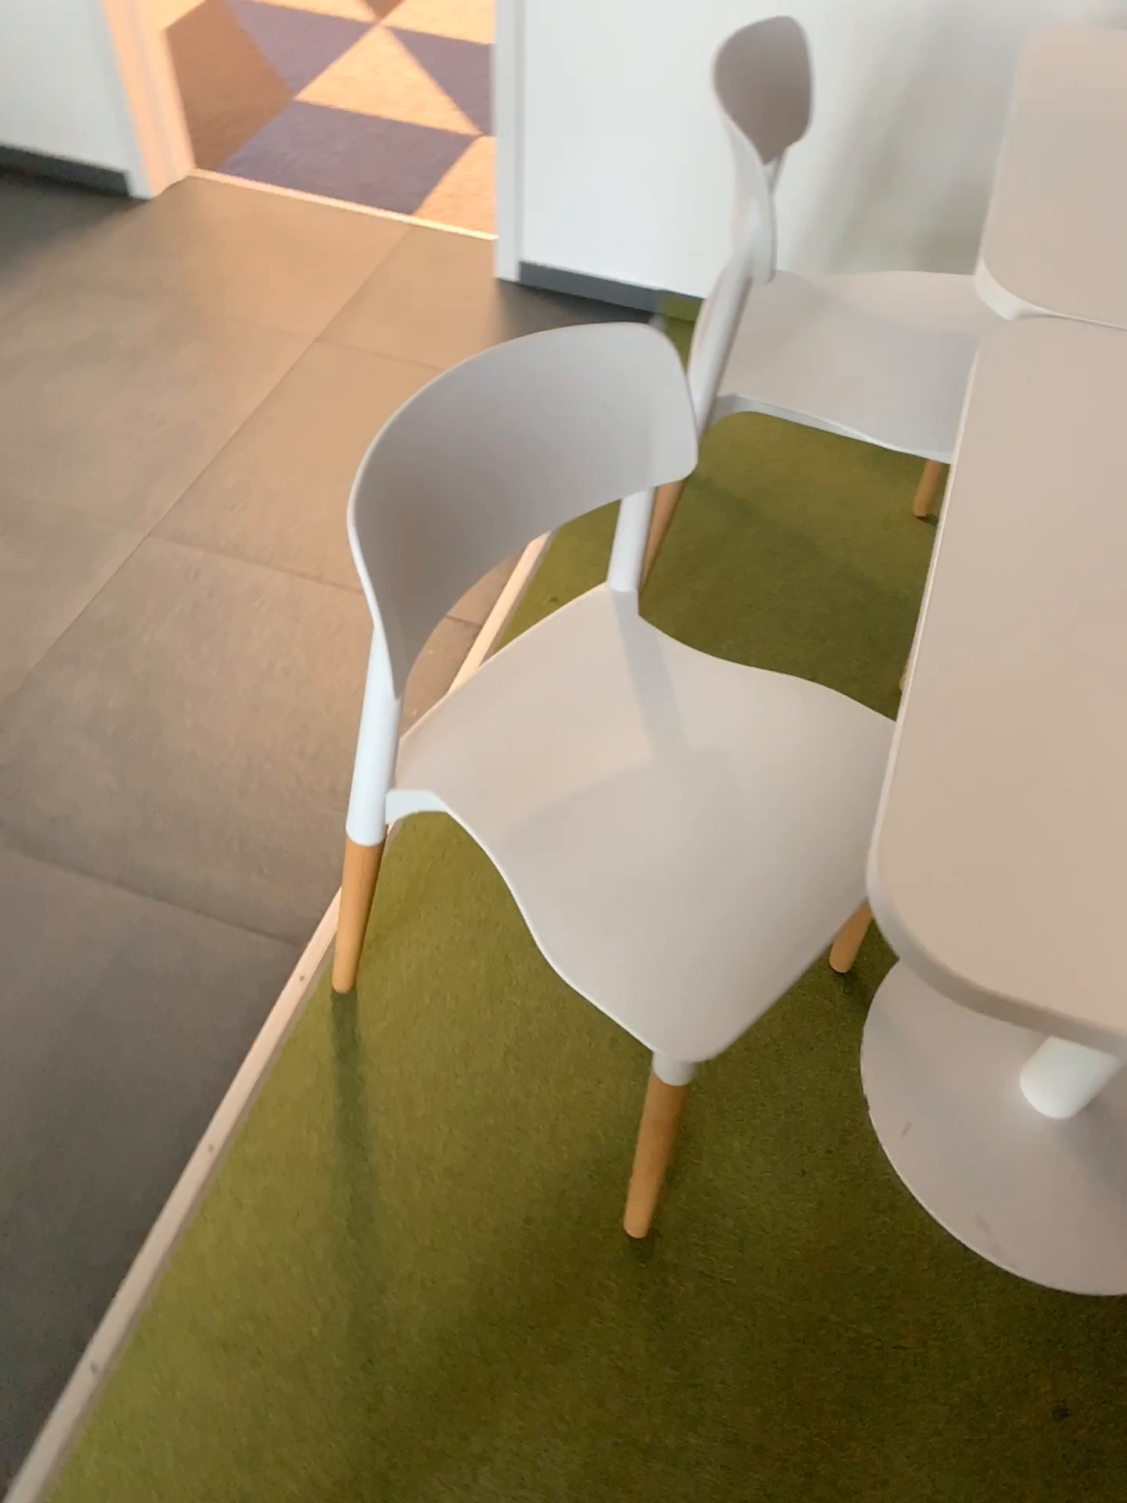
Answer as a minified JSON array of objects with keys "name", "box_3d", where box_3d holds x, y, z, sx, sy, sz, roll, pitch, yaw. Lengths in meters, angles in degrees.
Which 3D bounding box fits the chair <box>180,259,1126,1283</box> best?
[{"name":"chair","box_3d":[0.066,0.054,1.143,0.501,0.747,0.511,38,60,23]}]

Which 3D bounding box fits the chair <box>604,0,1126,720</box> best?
[{"name":"chair","box_3d":[0.387,-0.536,1.631,0.510,0.727,0.562,12,53,6]}]
